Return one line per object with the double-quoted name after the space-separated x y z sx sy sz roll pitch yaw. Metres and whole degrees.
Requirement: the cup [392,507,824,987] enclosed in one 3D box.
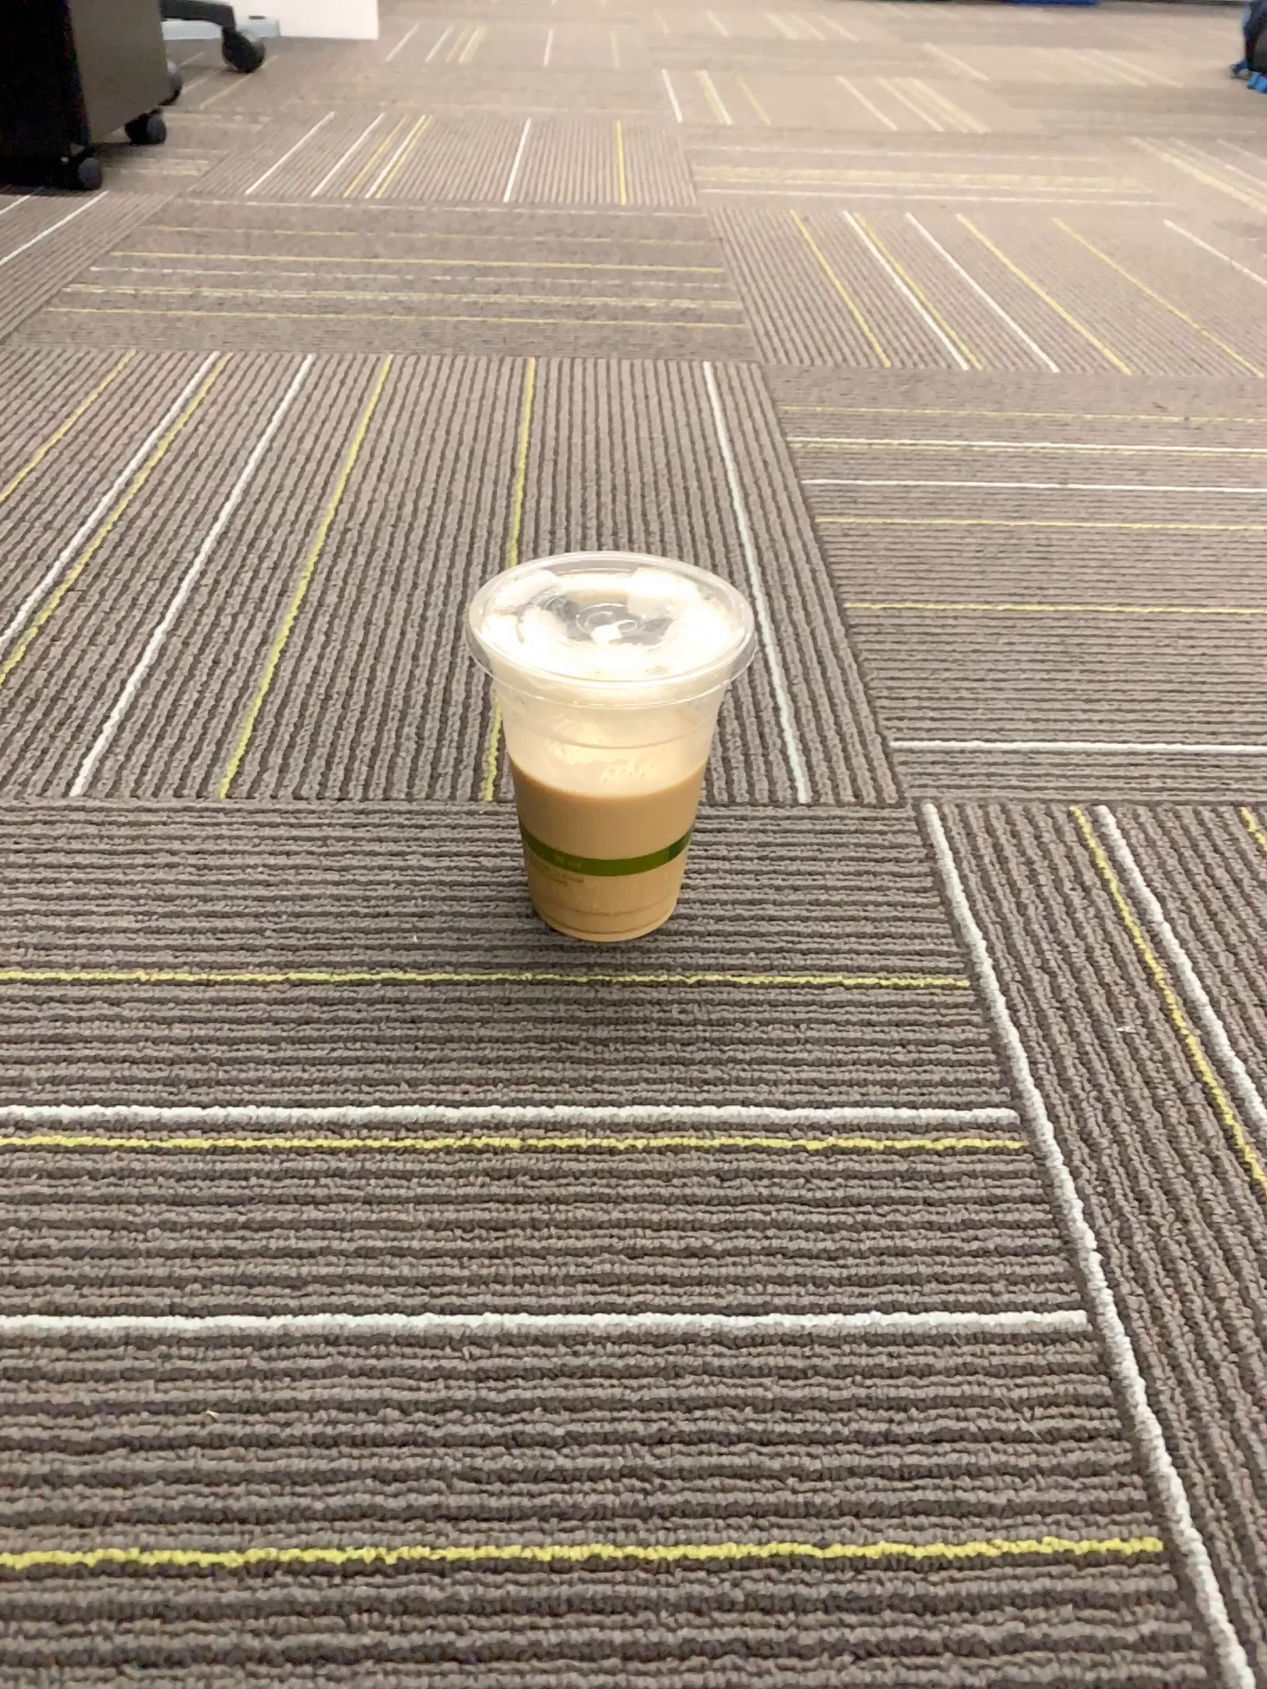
-0.010 -0.039 0.459 0.100 0.109 0.100 1 37 -1 "cup"
